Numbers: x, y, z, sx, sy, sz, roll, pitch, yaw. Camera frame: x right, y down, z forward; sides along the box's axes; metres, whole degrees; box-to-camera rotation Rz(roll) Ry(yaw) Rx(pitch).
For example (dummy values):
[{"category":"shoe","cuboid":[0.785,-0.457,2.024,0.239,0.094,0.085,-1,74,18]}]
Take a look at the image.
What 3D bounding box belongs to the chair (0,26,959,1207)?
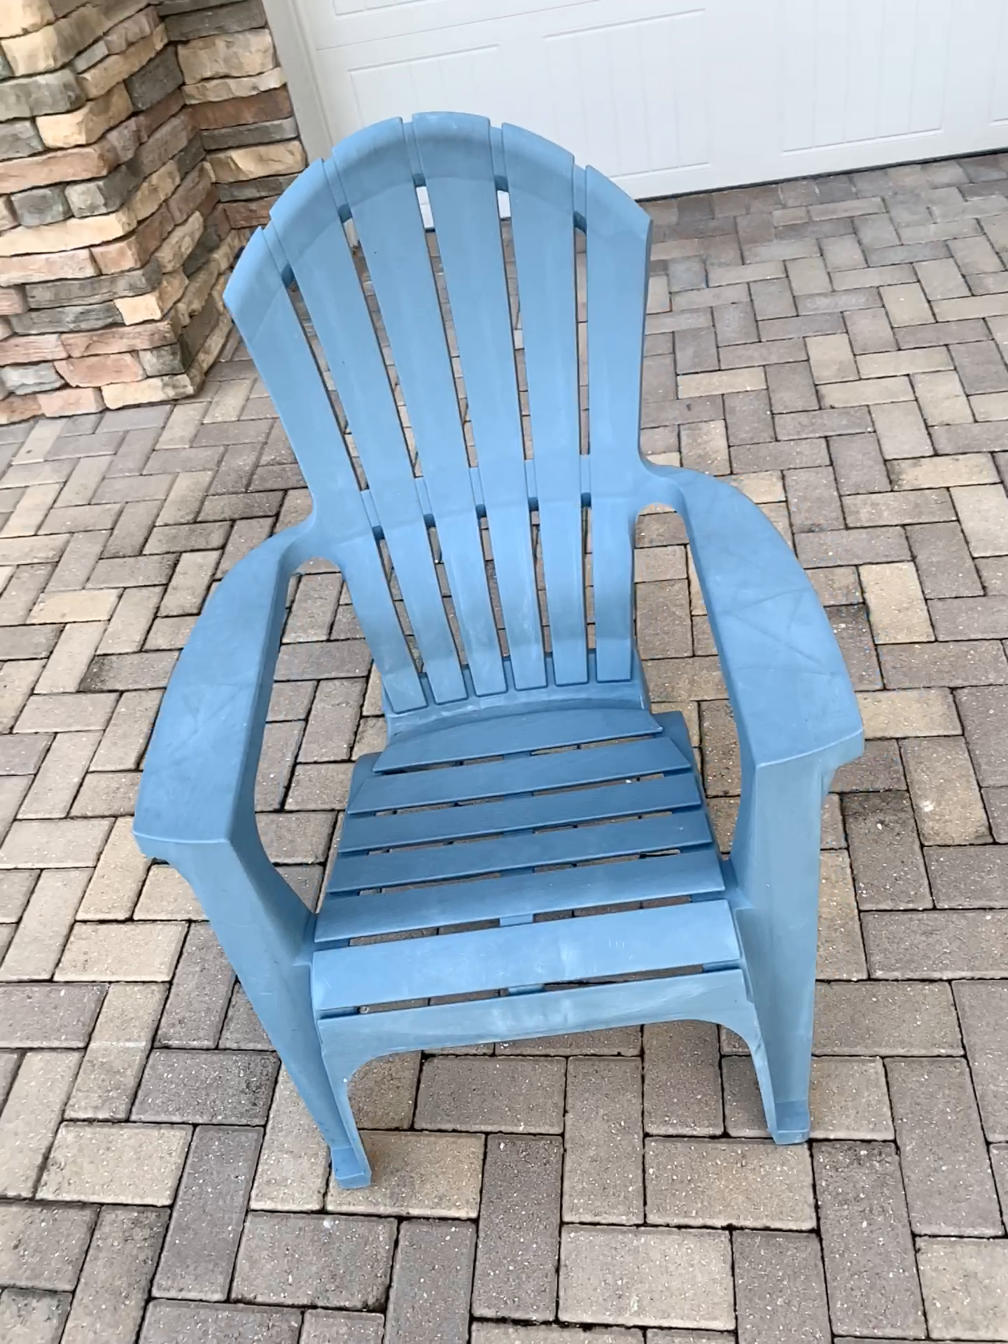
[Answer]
[{"category":"chair","cuboid":[-0.022,-0.027,1.183,0.681,0.985,0.802,-8,42,6]}]
